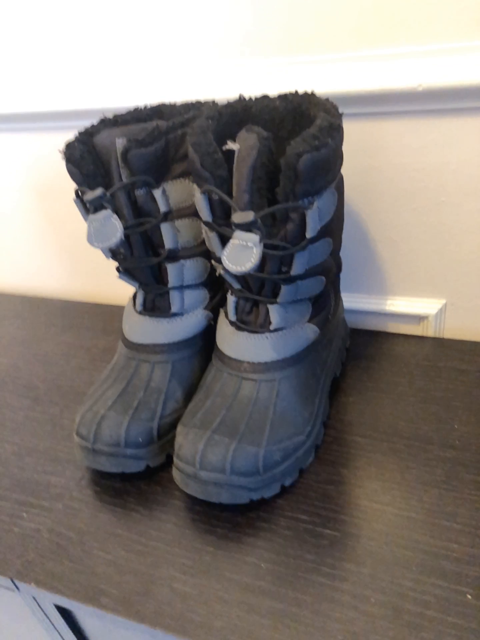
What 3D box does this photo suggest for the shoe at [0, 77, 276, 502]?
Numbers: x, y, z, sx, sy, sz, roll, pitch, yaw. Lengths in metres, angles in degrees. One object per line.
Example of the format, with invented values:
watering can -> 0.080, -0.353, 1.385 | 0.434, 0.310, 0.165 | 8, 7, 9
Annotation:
shoe -> -0.068, -0.036, 0.386 | 0.100, 0.209, 0.221 | 7, 38, 23

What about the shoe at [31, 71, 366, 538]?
shoe -> 0.010, -0.026, 0.354 | 0.100, 0.209, 0.221 | 7, 38, 23
